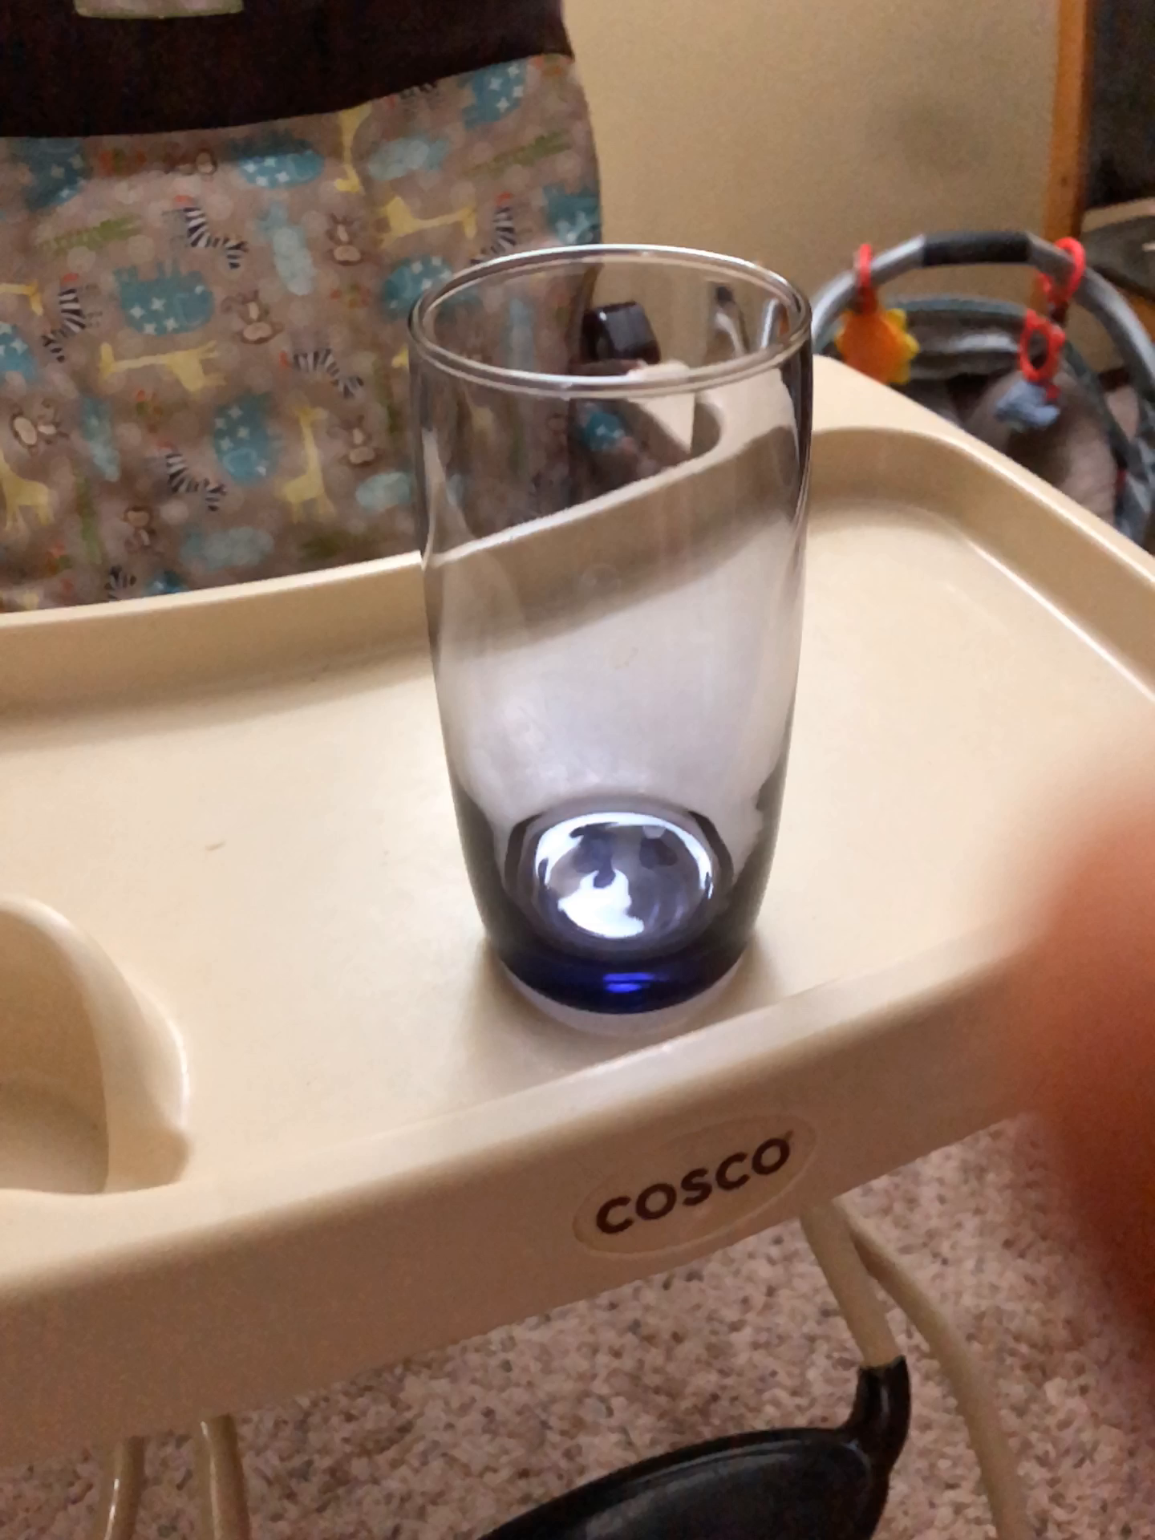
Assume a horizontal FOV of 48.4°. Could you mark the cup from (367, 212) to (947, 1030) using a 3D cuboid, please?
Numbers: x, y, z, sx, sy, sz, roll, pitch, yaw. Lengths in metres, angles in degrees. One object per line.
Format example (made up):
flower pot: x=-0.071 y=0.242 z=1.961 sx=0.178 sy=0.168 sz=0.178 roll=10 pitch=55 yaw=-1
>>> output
cup: x=0.011 y=-0.028 z=0.259 sx=0.083 sy=0.134 sz=0.085 roll=-1 pitch=39 yaw=1
